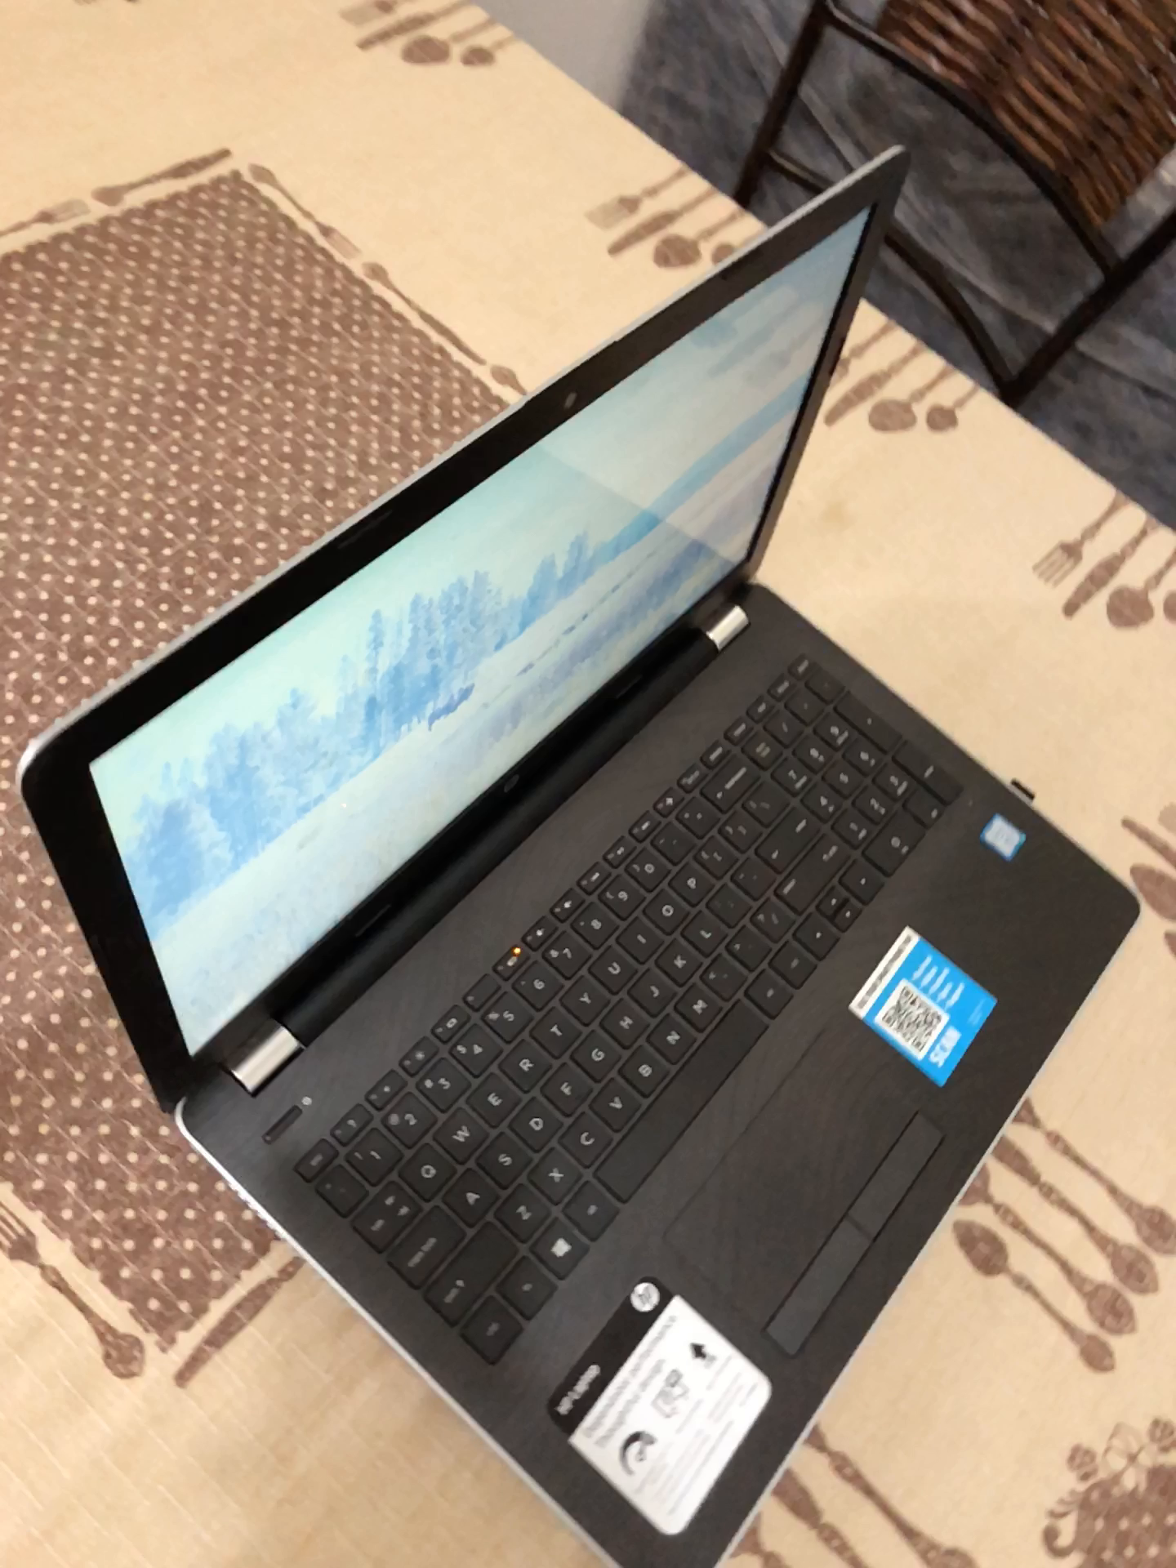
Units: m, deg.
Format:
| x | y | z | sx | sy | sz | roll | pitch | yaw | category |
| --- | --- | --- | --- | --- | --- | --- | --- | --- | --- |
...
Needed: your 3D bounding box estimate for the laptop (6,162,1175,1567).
| x | y | z | sx | sy | sz | roll | pitch | yaw | category |
| --- | --- | --- | --- | --- | --- | --- | --- | --- | --- |
| 0.067 | 0.027 | 0.437 | 0.267 | 0.226 | 0.361 | 41 | 60 | 9 | laptop |
